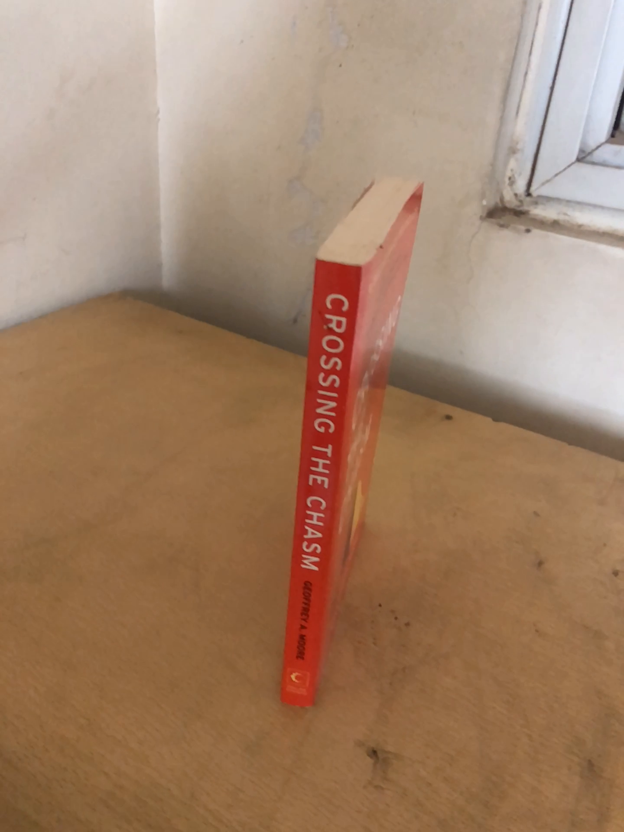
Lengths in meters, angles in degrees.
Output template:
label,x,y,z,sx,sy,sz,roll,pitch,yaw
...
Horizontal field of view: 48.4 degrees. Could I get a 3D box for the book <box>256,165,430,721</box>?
label,x,y,z,sx,sy,sz,roll,pitch,yaw
book,0.016,0.004,0.320,0.030,0.199,0.161,10,31,10
